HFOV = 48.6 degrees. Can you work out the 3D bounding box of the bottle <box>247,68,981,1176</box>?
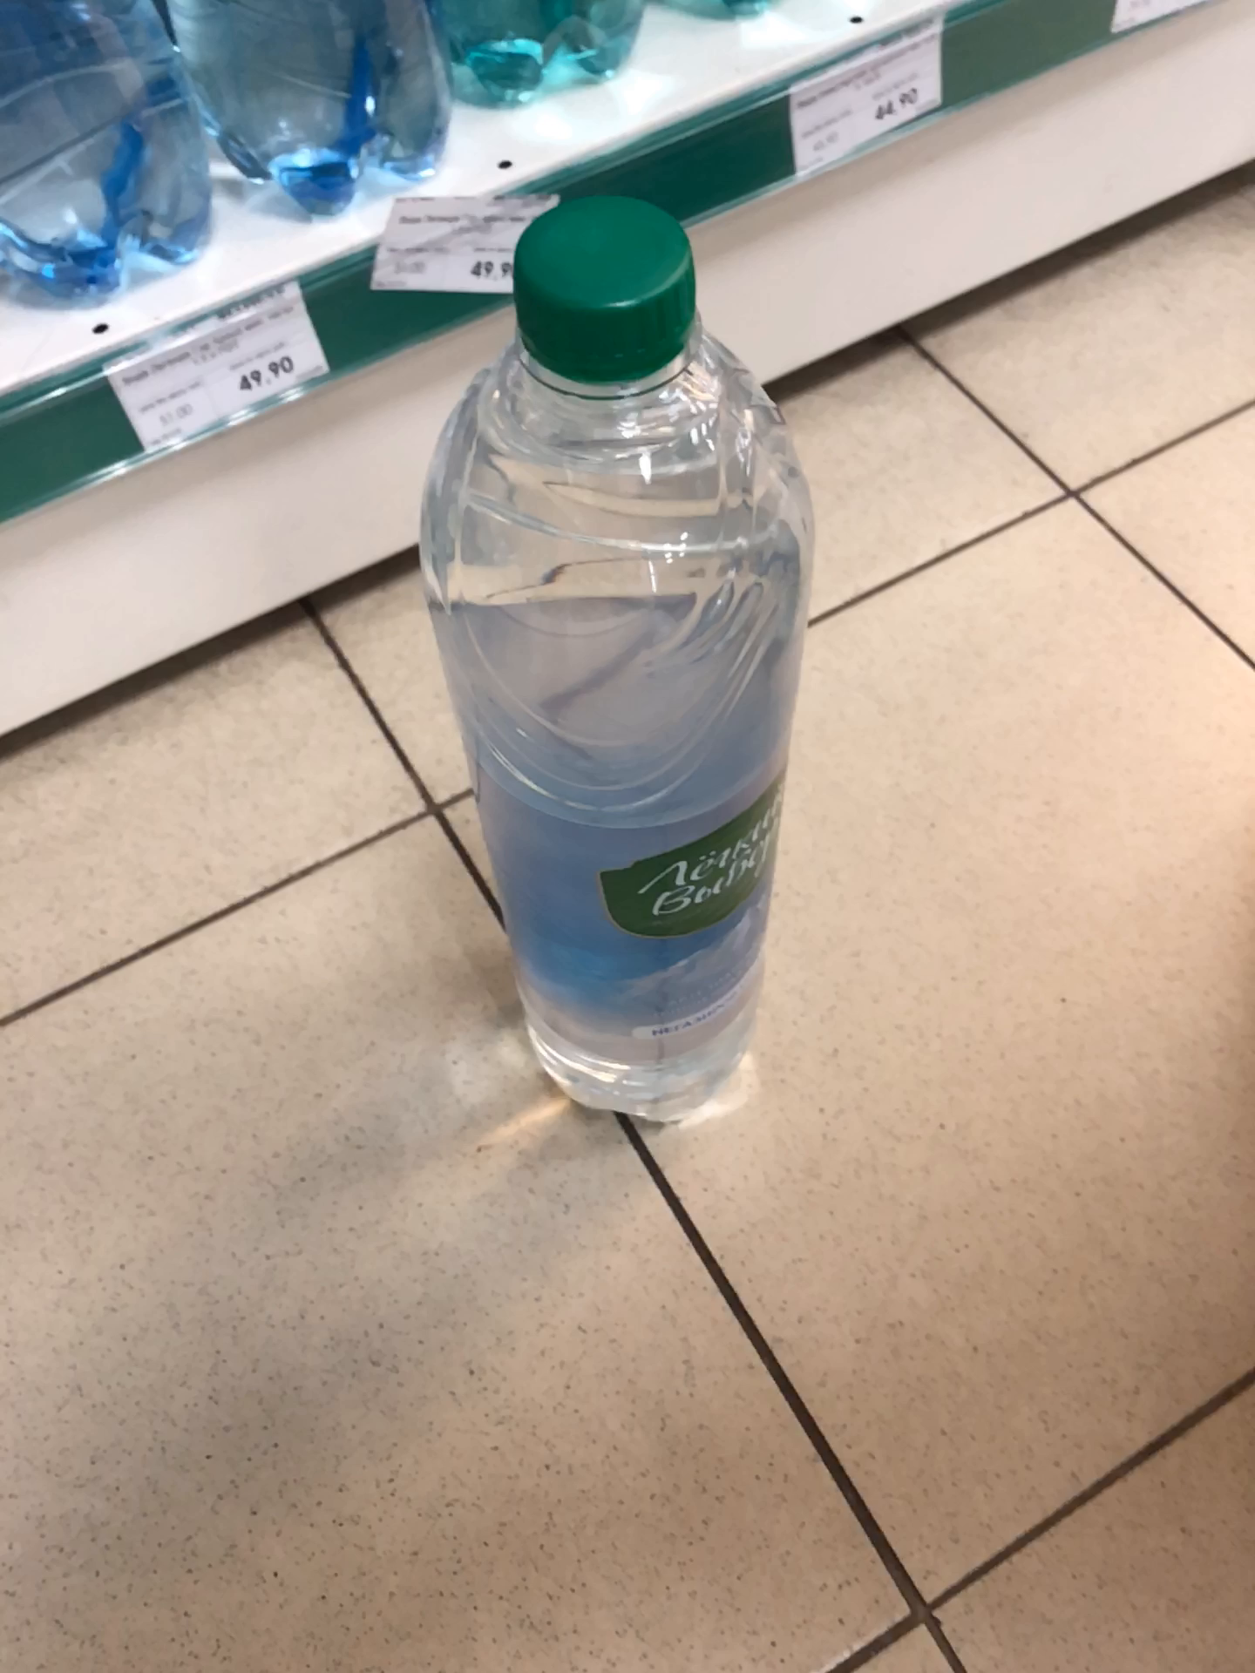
[{"bbox_3d":[0.002,-0.017,0.362,0.089,0.300,0.086,-1,59,2],"label":"bottle"}]
